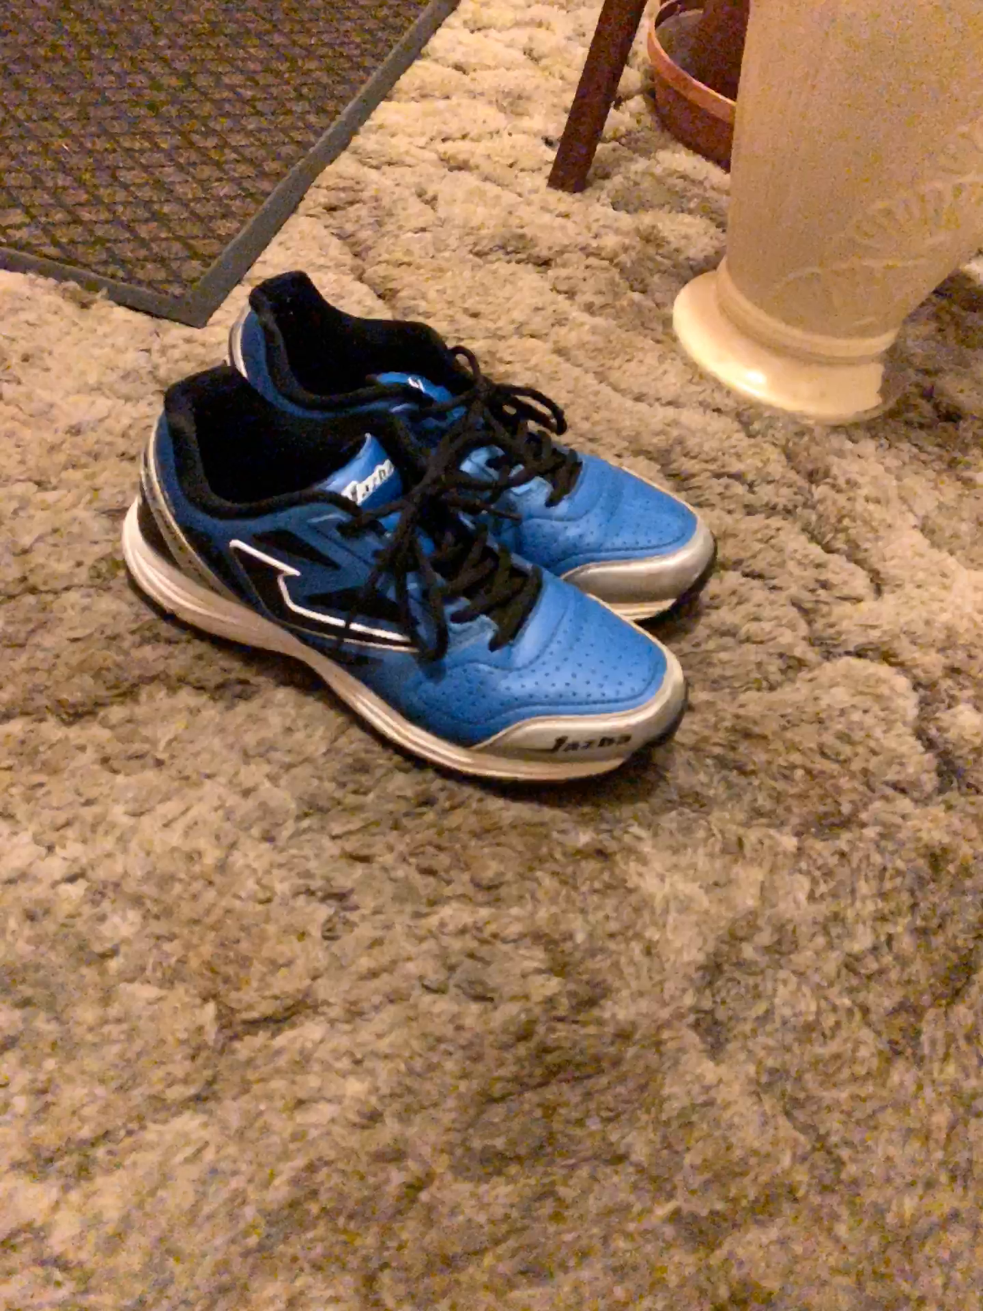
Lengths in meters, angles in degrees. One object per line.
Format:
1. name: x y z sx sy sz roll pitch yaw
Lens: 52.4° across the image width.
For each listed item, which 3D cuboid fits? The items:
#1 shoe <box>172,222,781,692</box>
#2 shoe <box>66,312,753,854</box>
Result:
1. shoe: -0.011 -0.102 0.513 0.270 0.119 0.101 21 50 6
2. shoe: -0.041 -0.037 0.473 0.280 0.119 0.101 25 51 9
